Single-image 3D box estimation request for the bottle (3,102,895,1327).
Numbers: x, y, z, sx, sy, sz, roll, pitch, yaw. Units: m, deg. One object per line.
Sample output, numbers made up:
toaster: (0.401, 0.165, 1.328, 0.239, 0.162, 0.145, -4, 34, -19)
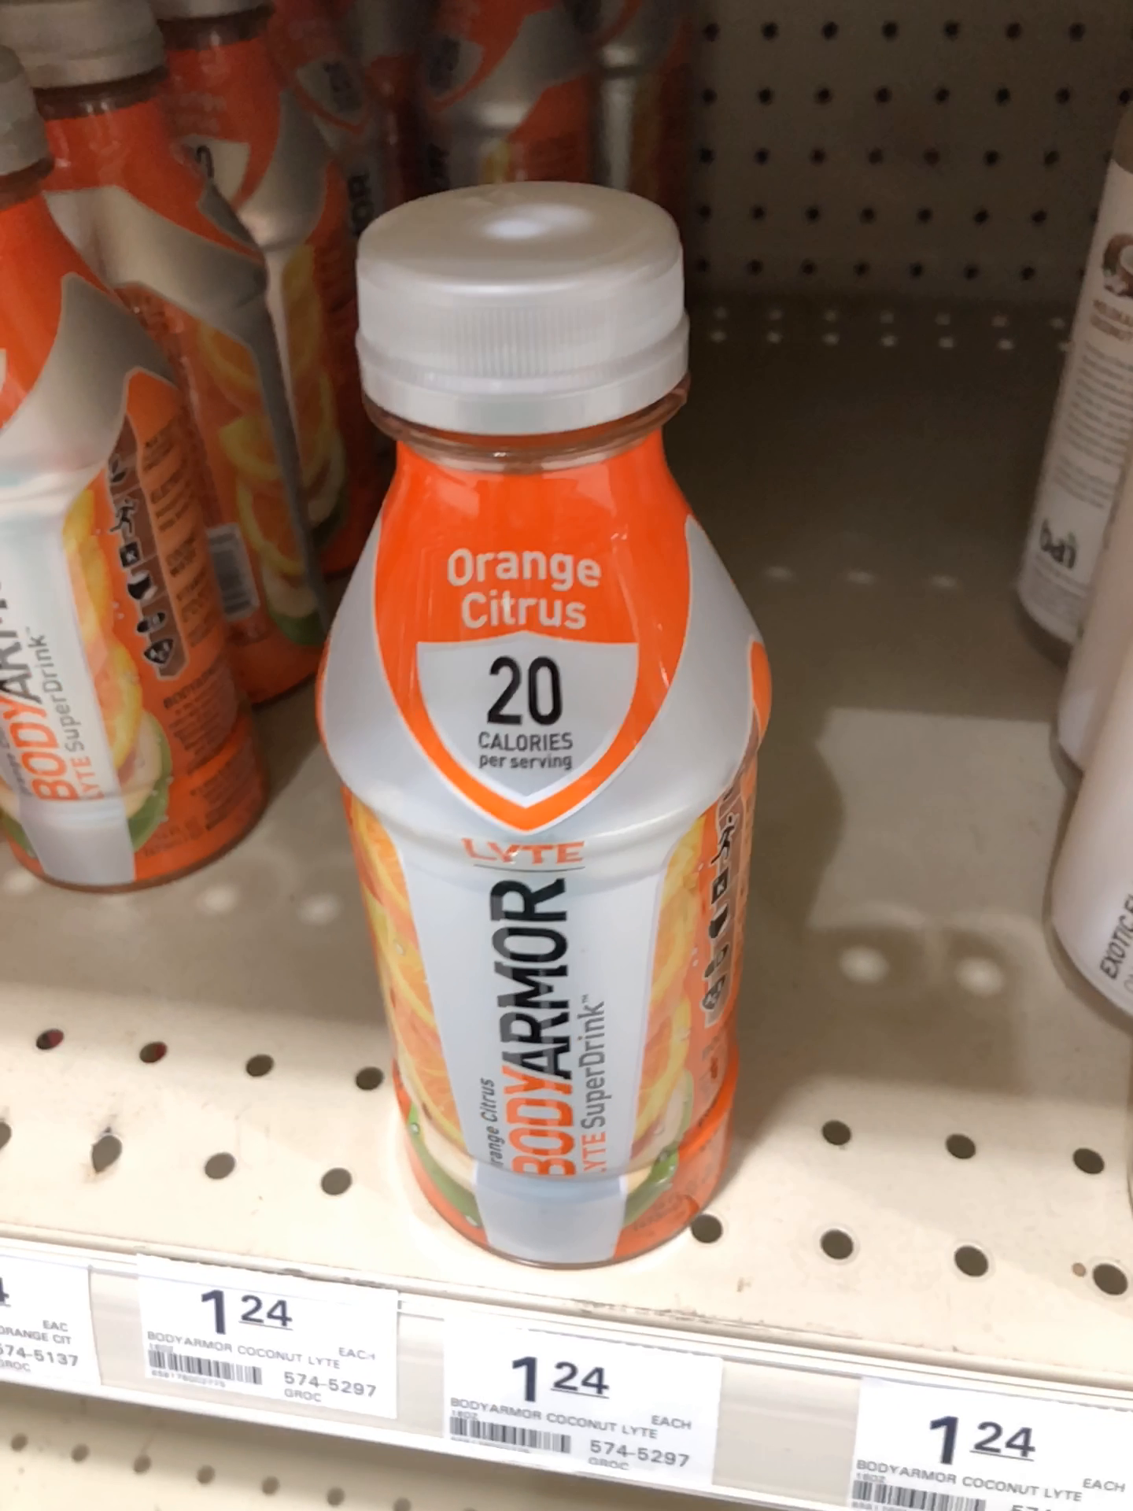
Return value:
bottle: (-0.004, 0.006, 0.201, 0.080, 0.180, 0.080, -1, 42, 1)
